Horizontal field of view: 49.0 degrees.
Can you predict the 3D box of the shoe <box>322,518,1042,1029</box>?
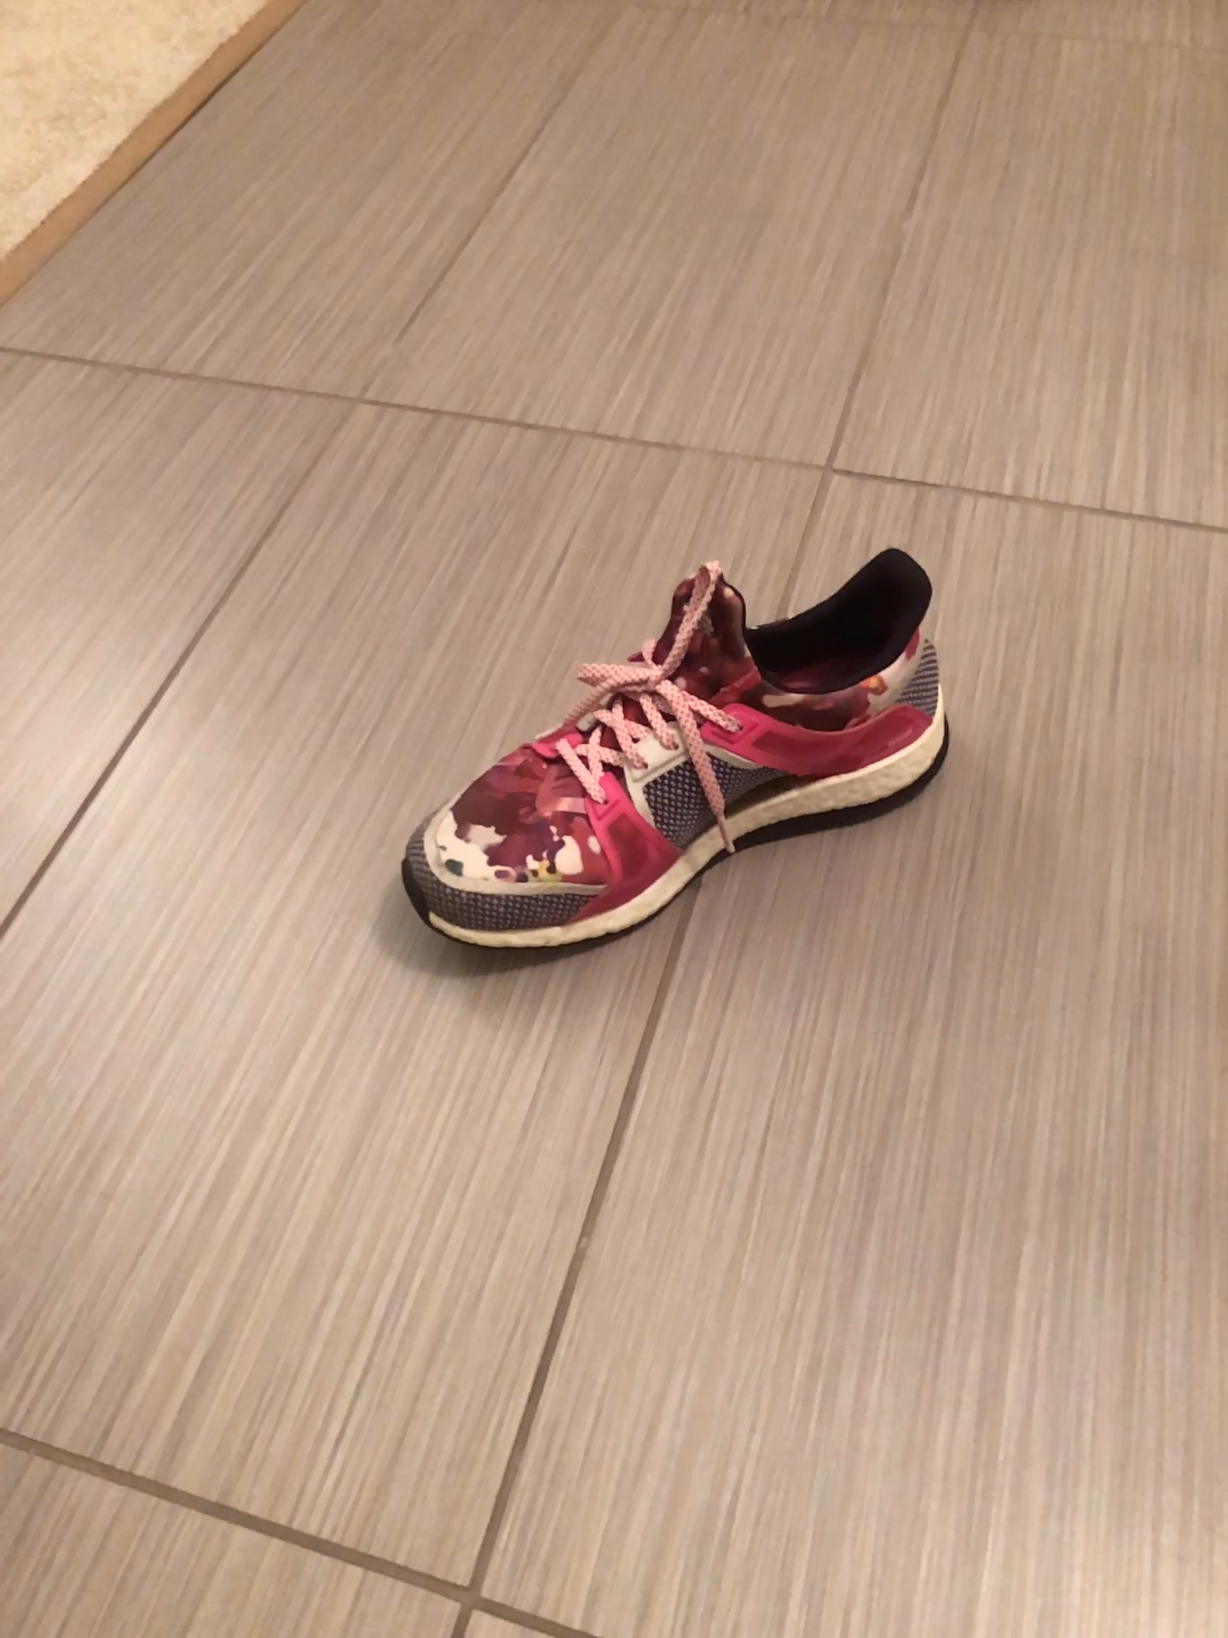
[{"bbox_3d":[0.030,-0.026,0.598,0.280,0.090,0.110,-20,53,-13],"label":"shoe"}]
